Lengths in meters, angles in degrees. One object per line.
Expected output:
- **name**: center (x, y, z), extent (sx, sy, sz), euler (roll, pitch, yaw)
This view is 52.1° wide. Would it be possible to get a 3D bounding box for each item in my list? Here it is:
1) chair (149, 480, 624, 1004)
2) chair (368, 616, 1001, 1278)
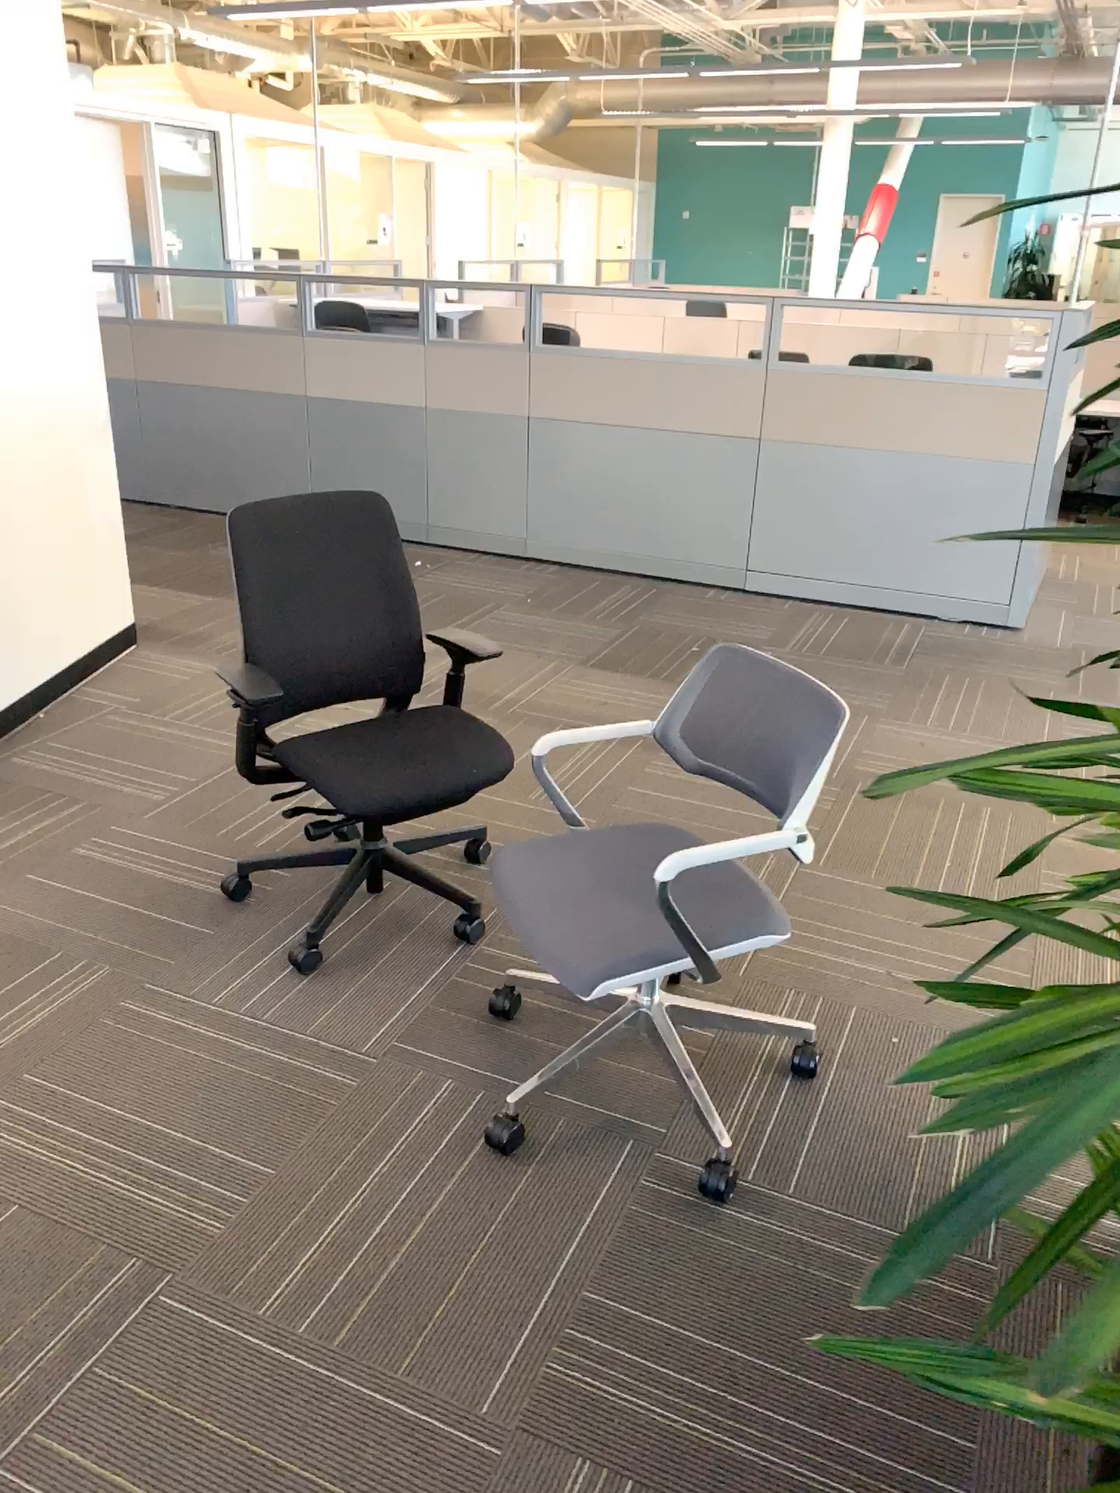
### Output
- **chair**: center (-0.436, -0.091, 2.763), extent (0.800, 0.885, 0.855), euler (-11, 27, -28)
- **chair**: center (0.167, 0.277, 2.157), extent (0.790, 0.756, 0.804), euler (-11, 26, -27)
